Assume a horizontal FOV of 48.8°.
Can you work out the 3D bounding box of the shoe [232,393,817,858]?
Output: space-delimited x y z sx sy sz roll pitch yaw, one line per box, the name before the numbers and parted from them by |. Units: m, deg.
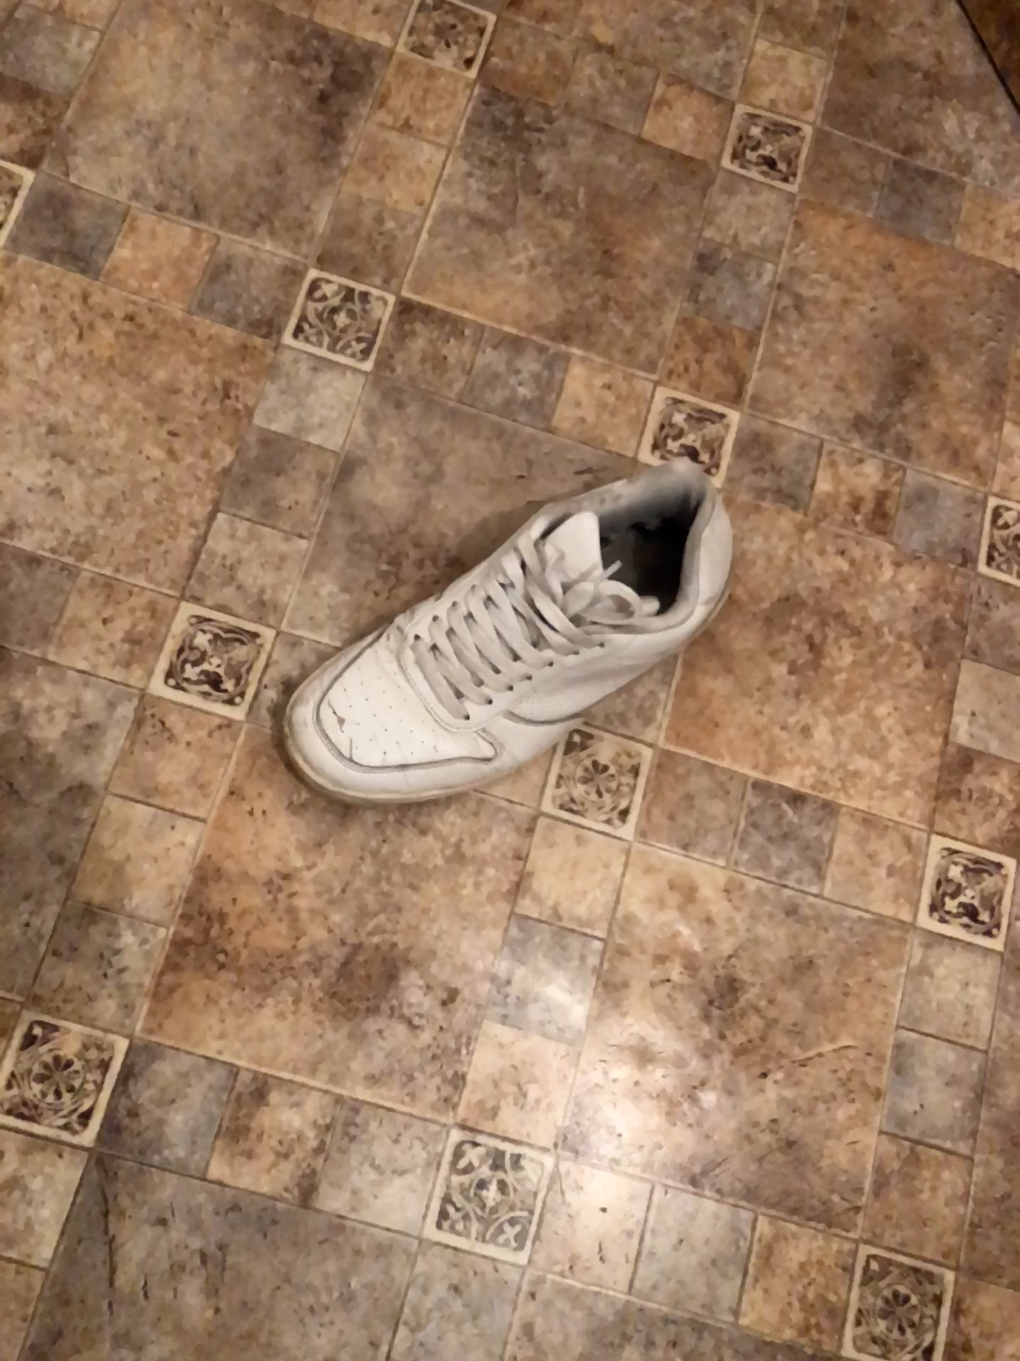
shoe | 0.006 -0.029 0.629 0.280 0.110 0.122 -28 82 -14
